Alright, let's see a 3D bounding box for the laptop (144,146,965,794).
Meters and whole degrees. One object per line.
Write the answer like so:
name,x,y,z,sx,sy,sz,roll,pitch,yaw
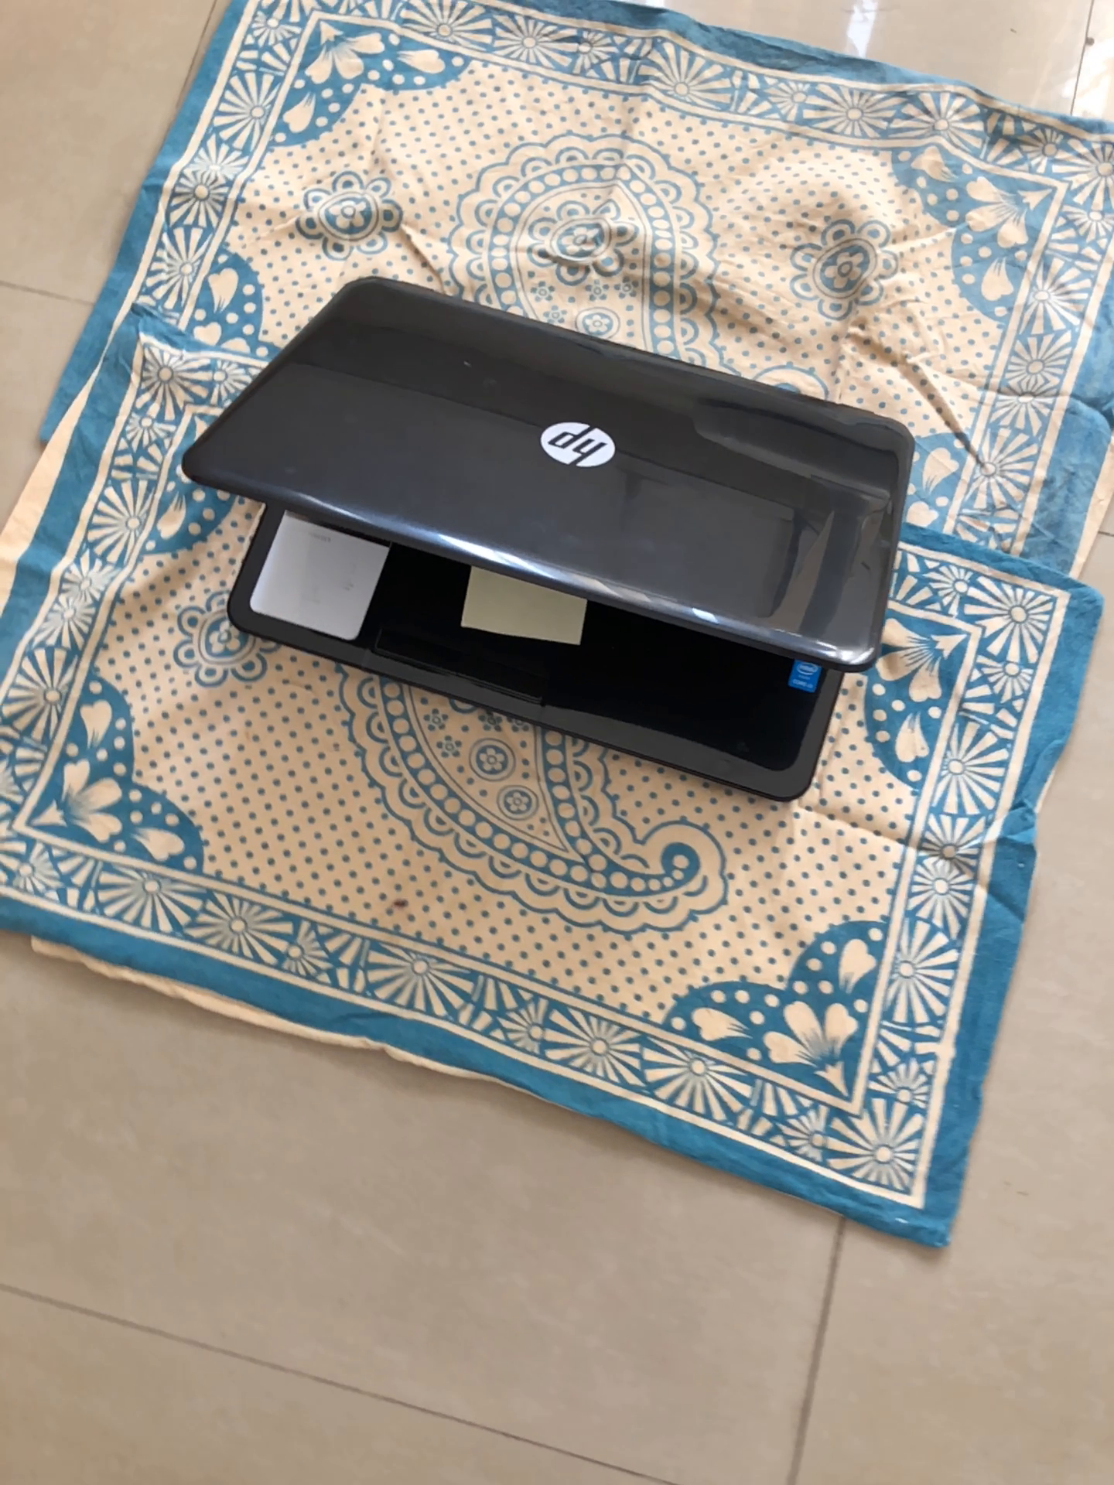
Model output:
laptop,0.003,-0.150,0.692,0.363,0.151,0.237,18,76,8
